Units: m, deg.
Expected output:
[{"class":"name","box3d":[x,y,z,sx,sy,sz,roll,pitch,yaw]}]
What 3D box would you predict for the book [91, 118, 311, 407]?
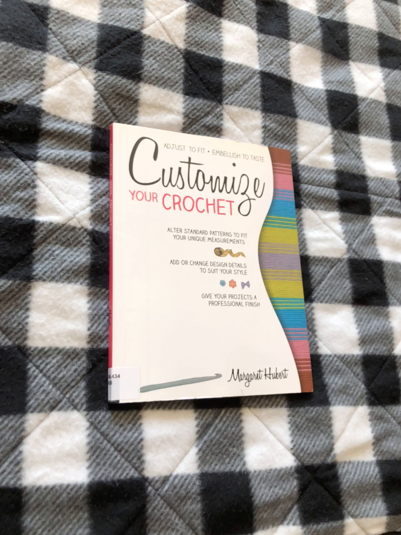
[{"class":"book","box3d":[0.001,-0.007,0.396,0.186,0.020,0.238,3,75,-21]}]
